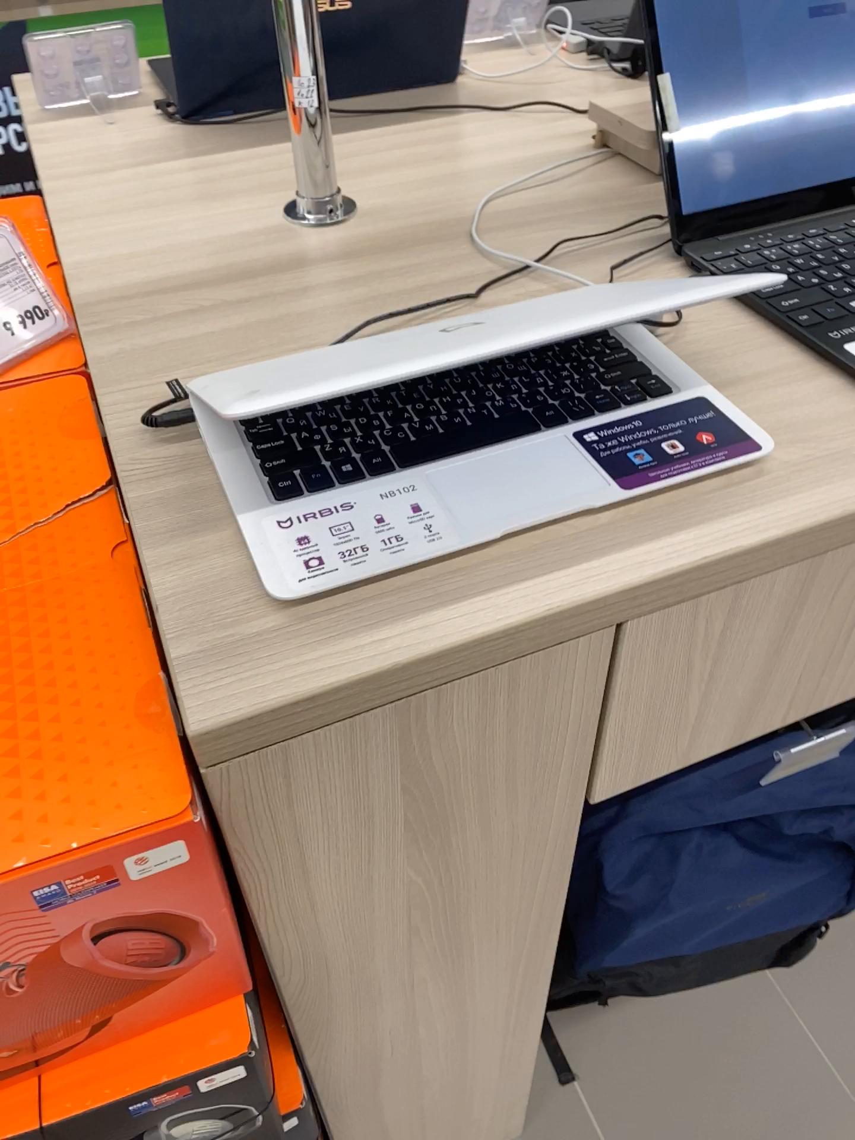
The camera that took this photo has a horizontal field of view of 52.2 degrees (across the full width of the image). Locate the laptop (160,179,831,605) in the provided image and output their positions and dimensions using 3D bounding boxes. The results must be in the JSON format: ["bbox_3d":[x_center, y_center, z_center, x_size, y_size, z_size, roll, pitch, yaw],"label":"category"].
[{"bbox_3d":[0.026,-0.110,0.456,0.280,0.078,0.179,-17,47,-15],"label":"laptop"}]
